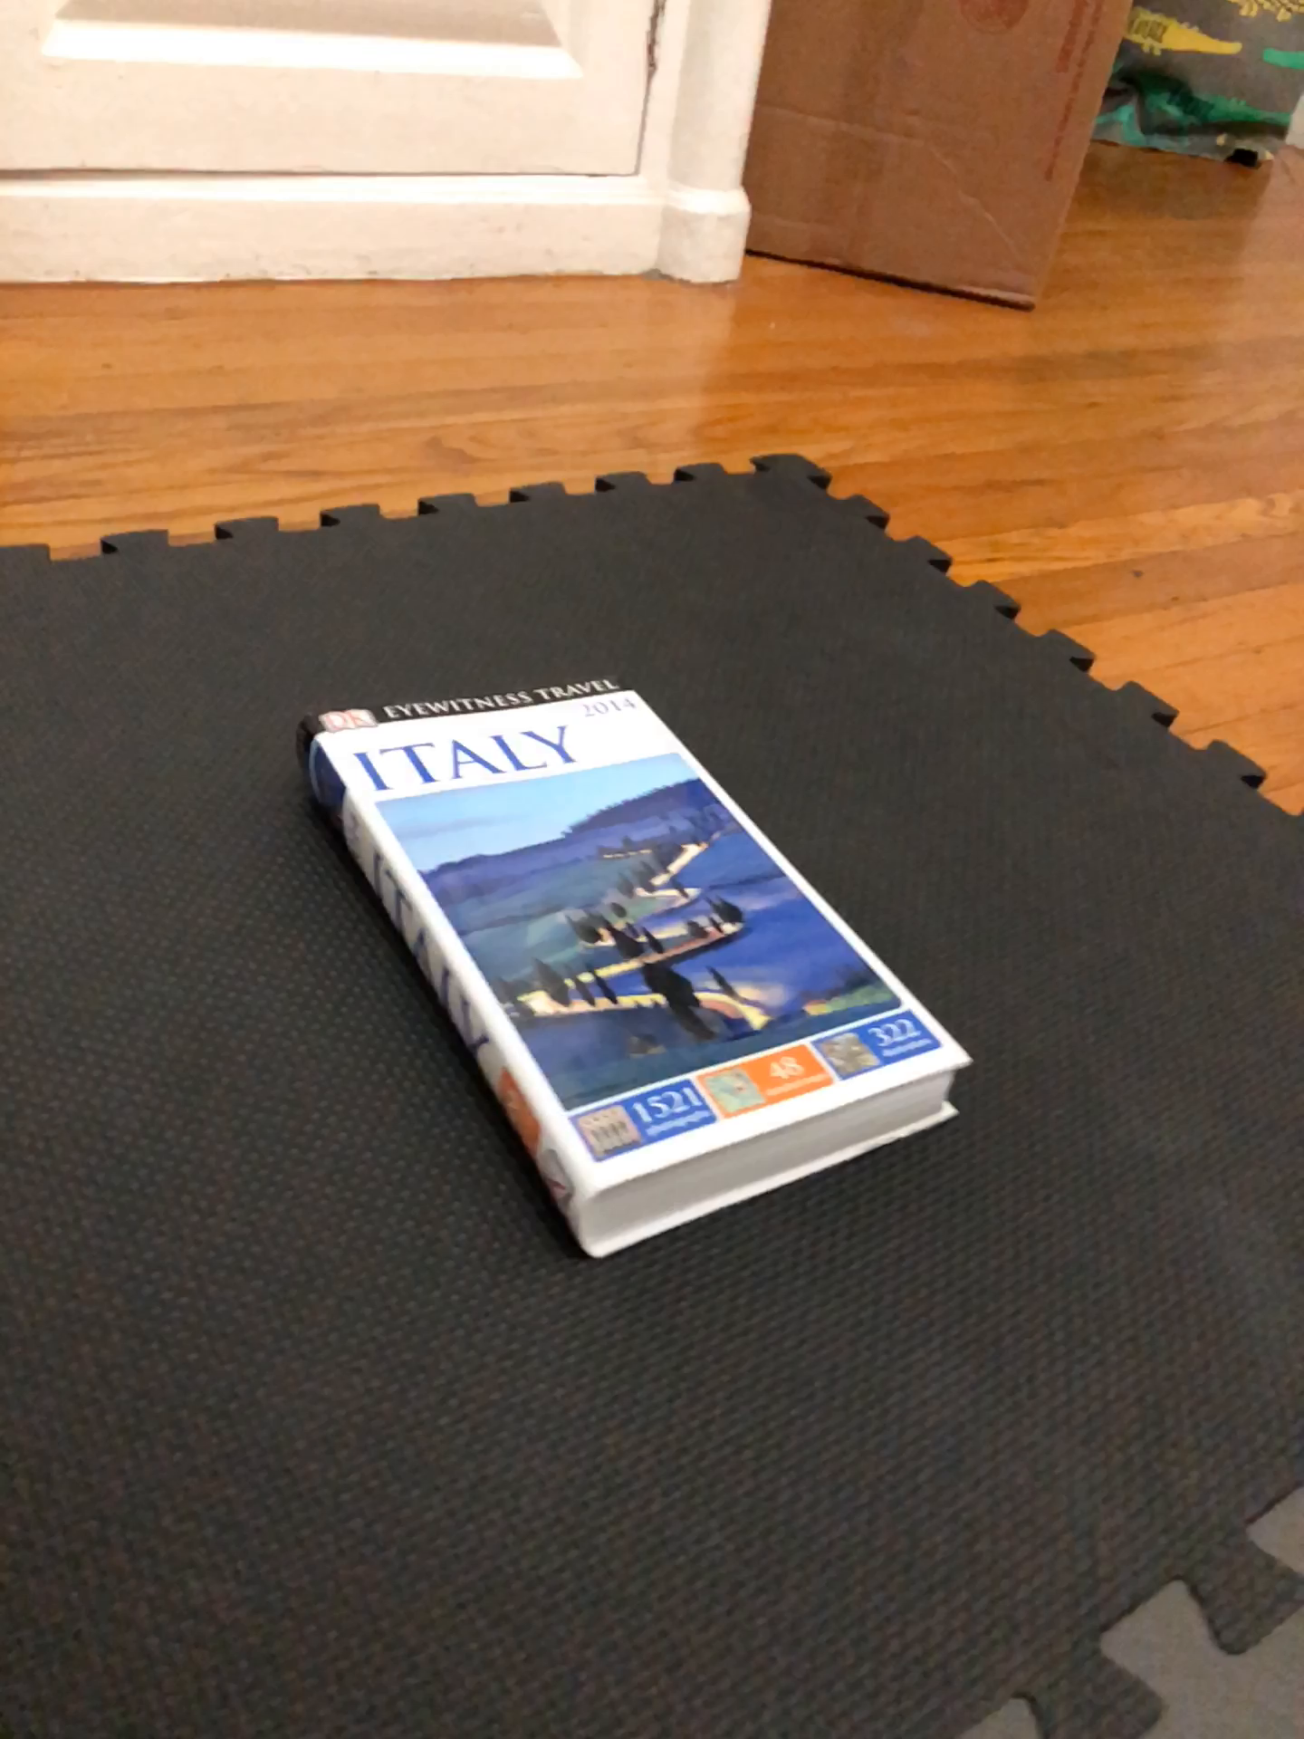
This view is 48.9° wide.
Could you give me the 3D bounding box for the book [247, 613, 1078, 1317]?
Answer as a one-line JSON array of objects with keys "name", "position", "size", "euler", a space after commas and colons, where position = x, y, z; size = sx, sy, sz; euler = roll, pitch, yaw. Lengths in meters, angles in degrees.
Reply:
[{"name": "book", "position": [-0.011, 0.005, 0.467], "size": [0.160, 0.040, 0.251], "euler": [-14, 44, -29]}]
